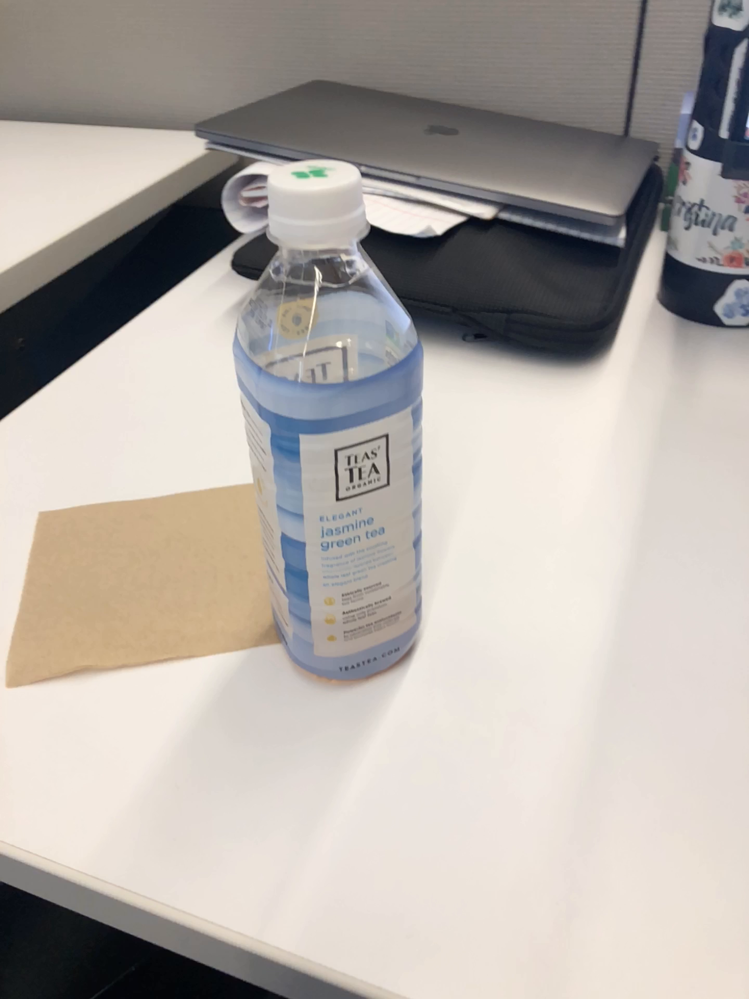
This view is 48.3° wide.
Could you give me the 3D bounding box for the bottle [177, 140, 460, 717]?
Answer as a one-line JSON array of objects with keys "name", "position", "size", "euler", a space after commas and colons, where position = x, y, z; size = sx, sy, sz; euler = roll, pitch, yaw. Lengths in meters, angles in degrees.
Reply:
[{"name": "bottle", "position": [-0.017, -0.020, 0.332], "size": [0.070, 0.209, 0.070], "euler": [-2, 36, 1]}]
